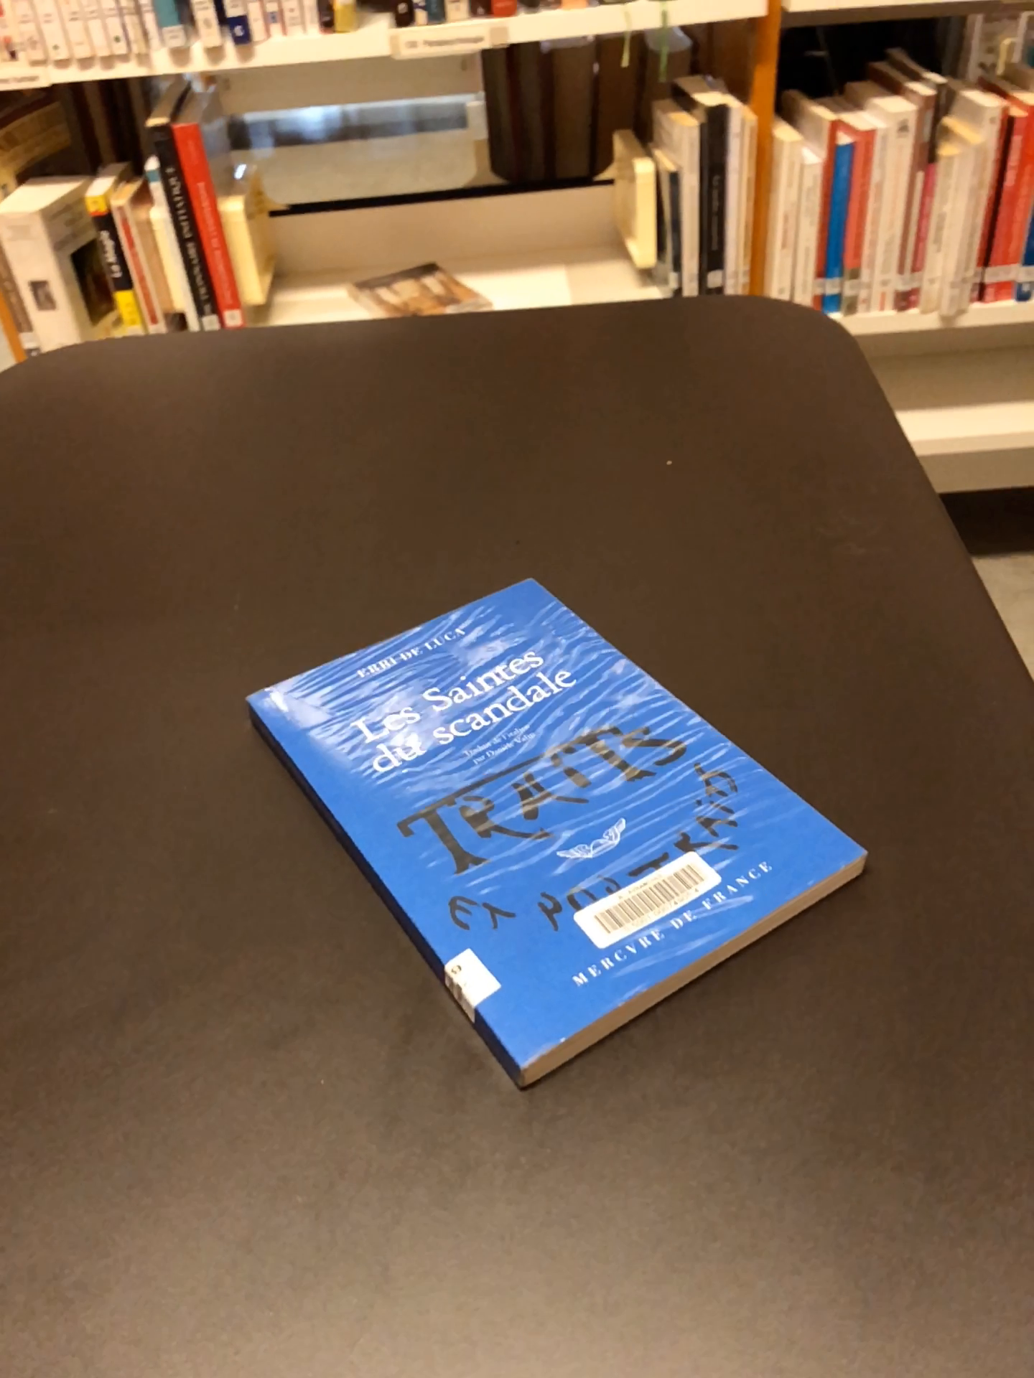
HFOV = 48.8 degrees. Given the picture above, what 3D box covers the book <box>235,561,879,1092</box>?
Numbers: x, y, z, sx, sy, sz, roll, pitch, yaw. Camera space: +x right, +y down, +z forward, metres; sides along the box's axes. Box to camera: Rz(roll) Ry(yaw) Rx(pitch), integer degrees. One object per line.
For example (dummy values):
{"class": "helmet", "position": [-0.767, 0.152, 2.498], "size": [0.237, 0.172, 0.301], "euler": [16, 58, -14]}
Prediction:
{"class": "book", "position": [0.003, 0.030, 0.430], "size": [0.144, 0.017, 0.215], "euler": [-25, 43, -23]}
